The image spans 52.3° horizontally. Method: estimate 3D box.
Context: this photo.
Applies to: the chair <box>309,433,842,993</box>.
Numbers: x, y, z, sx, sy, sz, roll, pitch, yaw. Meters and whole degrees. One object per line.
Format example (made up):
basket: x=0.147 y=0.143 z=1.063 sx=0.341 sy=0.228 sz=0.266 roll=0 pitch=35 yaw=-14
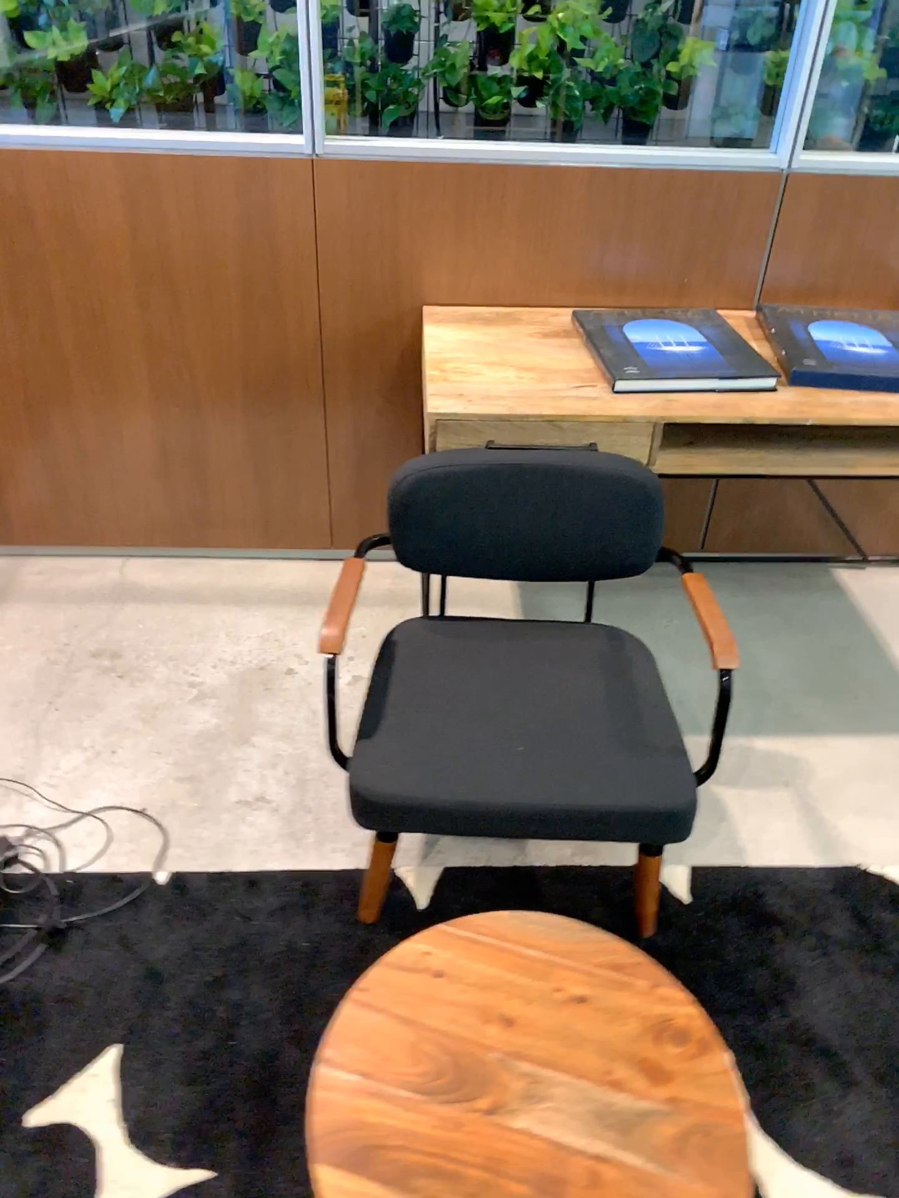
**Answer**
chair: x=0.170 y=0.222 z=1.792 sx=0.750 sy=0.875 sz=0.613 roll=2 pitch=35 yaw=0
